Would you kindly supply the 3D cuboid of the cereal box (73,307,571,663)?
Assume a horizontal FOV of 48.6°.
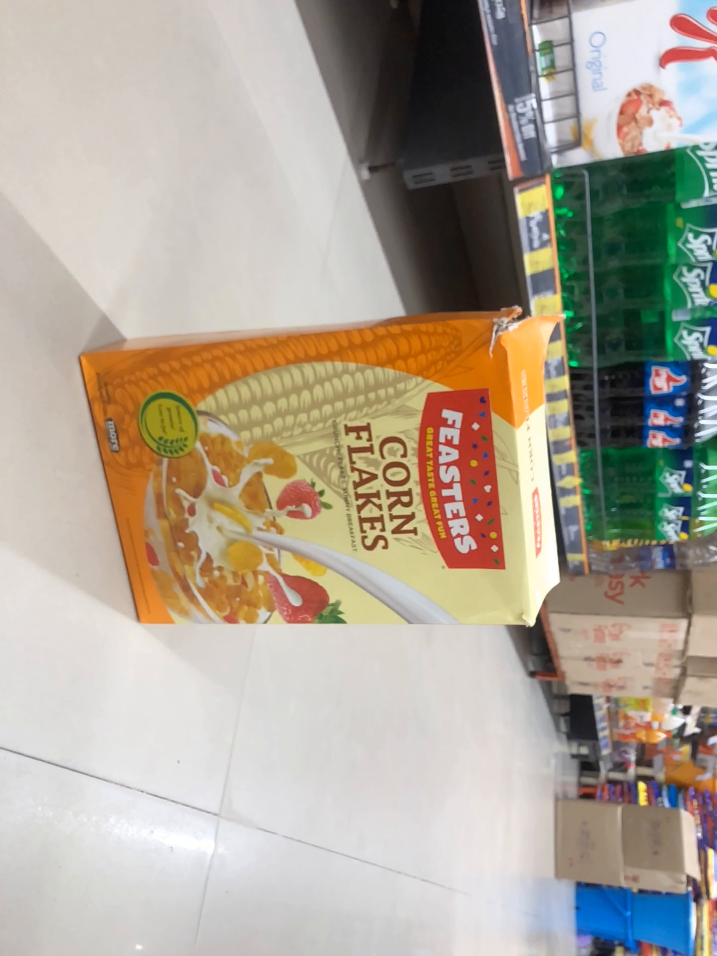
[{"bbox_3d":[-0.016,0.011,0.481,0.060,0.269,0.190,-52,136,-69],"label":"cereal box"}]
